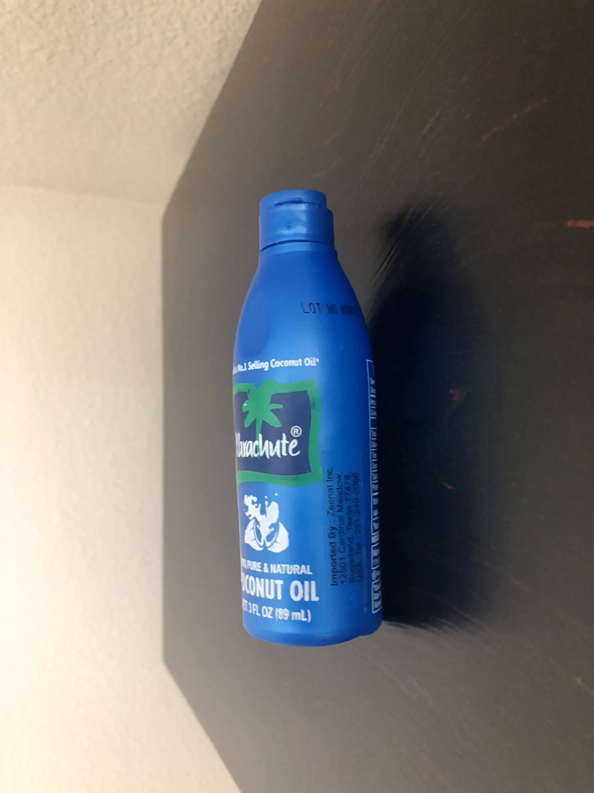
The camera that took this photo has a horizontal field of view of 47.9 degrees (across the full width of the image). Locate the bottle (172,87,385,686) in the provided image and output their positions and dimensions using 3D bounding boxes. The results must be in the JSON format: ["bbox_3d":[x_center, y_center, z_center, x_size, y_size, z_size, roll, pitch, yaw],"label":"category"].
[{"bbox_3d":[-0.006,-0.002,0.184,0.040,0.040,0.140,-5,84,41],"label":"bottle"}]
